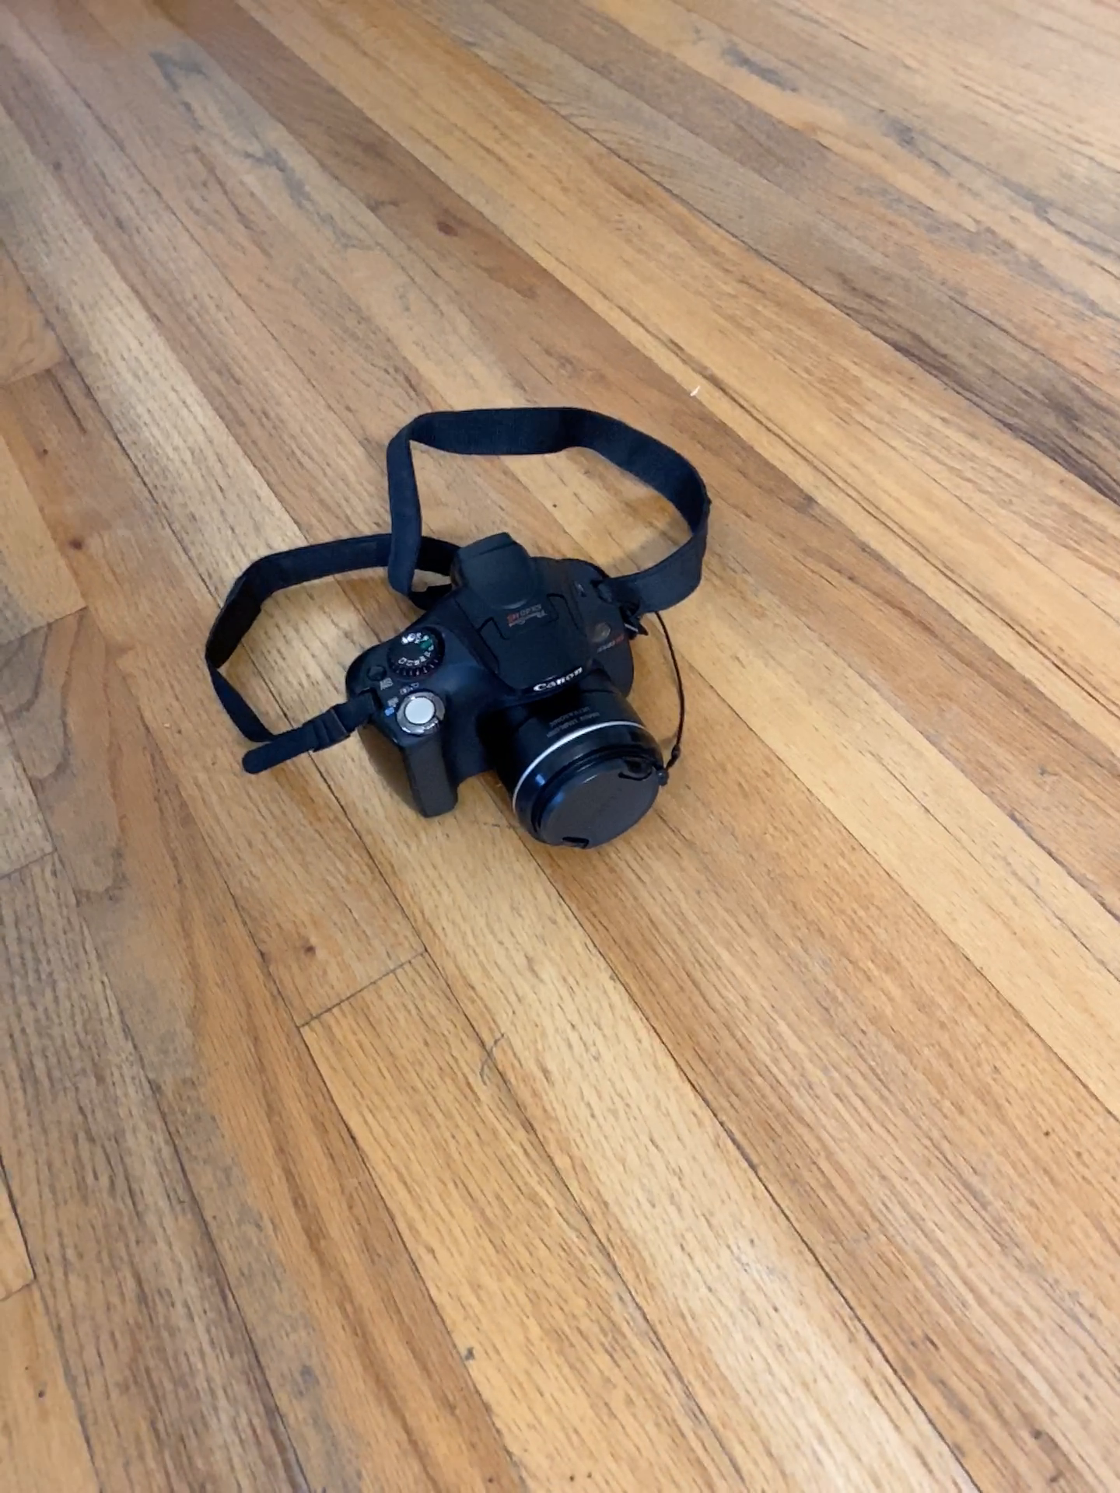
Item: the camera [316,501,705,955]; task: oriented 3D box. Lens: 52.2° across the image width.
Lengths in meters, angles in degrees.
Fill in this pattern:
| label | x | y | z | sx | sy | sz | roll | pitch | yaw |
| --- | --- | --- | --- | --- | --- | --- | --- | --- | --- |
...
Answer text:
| label | x | y | z | sx | sy | sz | roll | pitch | yaw |
| --- | --- | --- | --- | --- | --- | --- | --- | --- | --- |
| camera | -0.018 | -0.008 | 0.489 | 0.110 | 0.110 | 0.120 | -27 | 55 | -12 |
